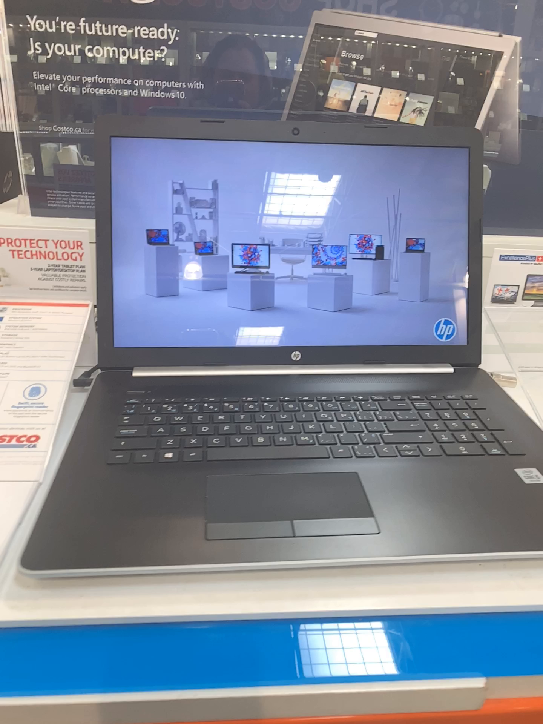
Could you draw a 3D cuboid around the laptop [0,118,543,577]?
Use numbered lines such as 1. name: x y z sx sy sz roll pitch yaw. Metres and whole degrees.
1. laptop: 0.036 -0.063 0.457 0.395 0.234 0.371 0 24 -6
